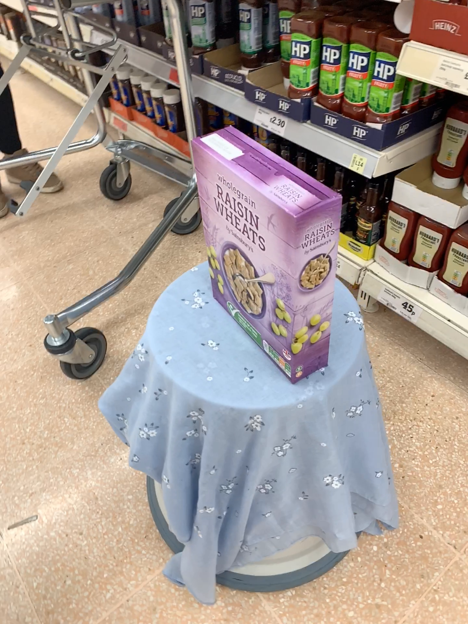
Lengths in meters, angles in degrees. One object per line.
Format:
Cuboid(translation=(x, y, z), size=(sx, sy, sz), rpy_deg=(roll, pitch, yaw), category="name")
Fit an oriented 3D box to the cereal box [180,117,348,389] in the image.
Cuboid(translation=(0.027, -0.065, 0.548), size=(0.060, 0.238, 0.202), rpy_deg=(-26, 49, -20), category="cereal box")
